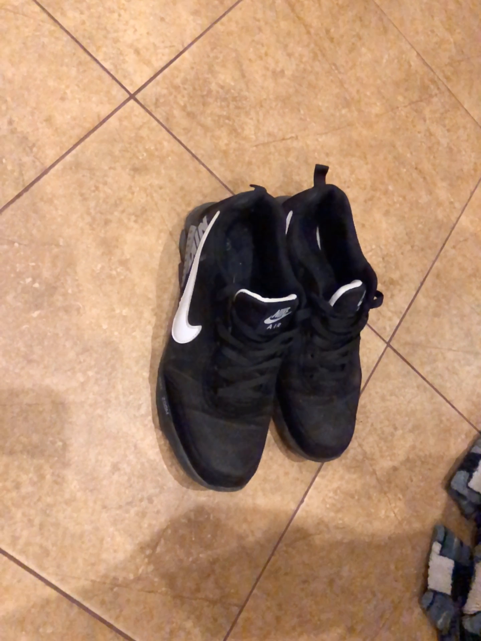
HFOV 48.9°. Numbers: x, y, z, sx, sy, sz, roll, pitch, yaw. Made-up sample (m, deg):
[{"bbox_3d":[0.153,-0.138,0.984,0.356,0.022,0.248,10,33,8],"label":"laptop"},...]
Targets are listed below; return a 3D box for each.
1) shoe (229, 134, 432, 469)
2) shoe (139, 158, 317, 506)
[{"bbox_3d":[0.082,-0.014,0.541,0.120,0.120,0.300,-1,79,-26],"label":"shoe"},{"bbox_3d":[-0.011,0.017,0.477,0.110,0.120,0.270,8,75,-24],"label":"shoe"}]
